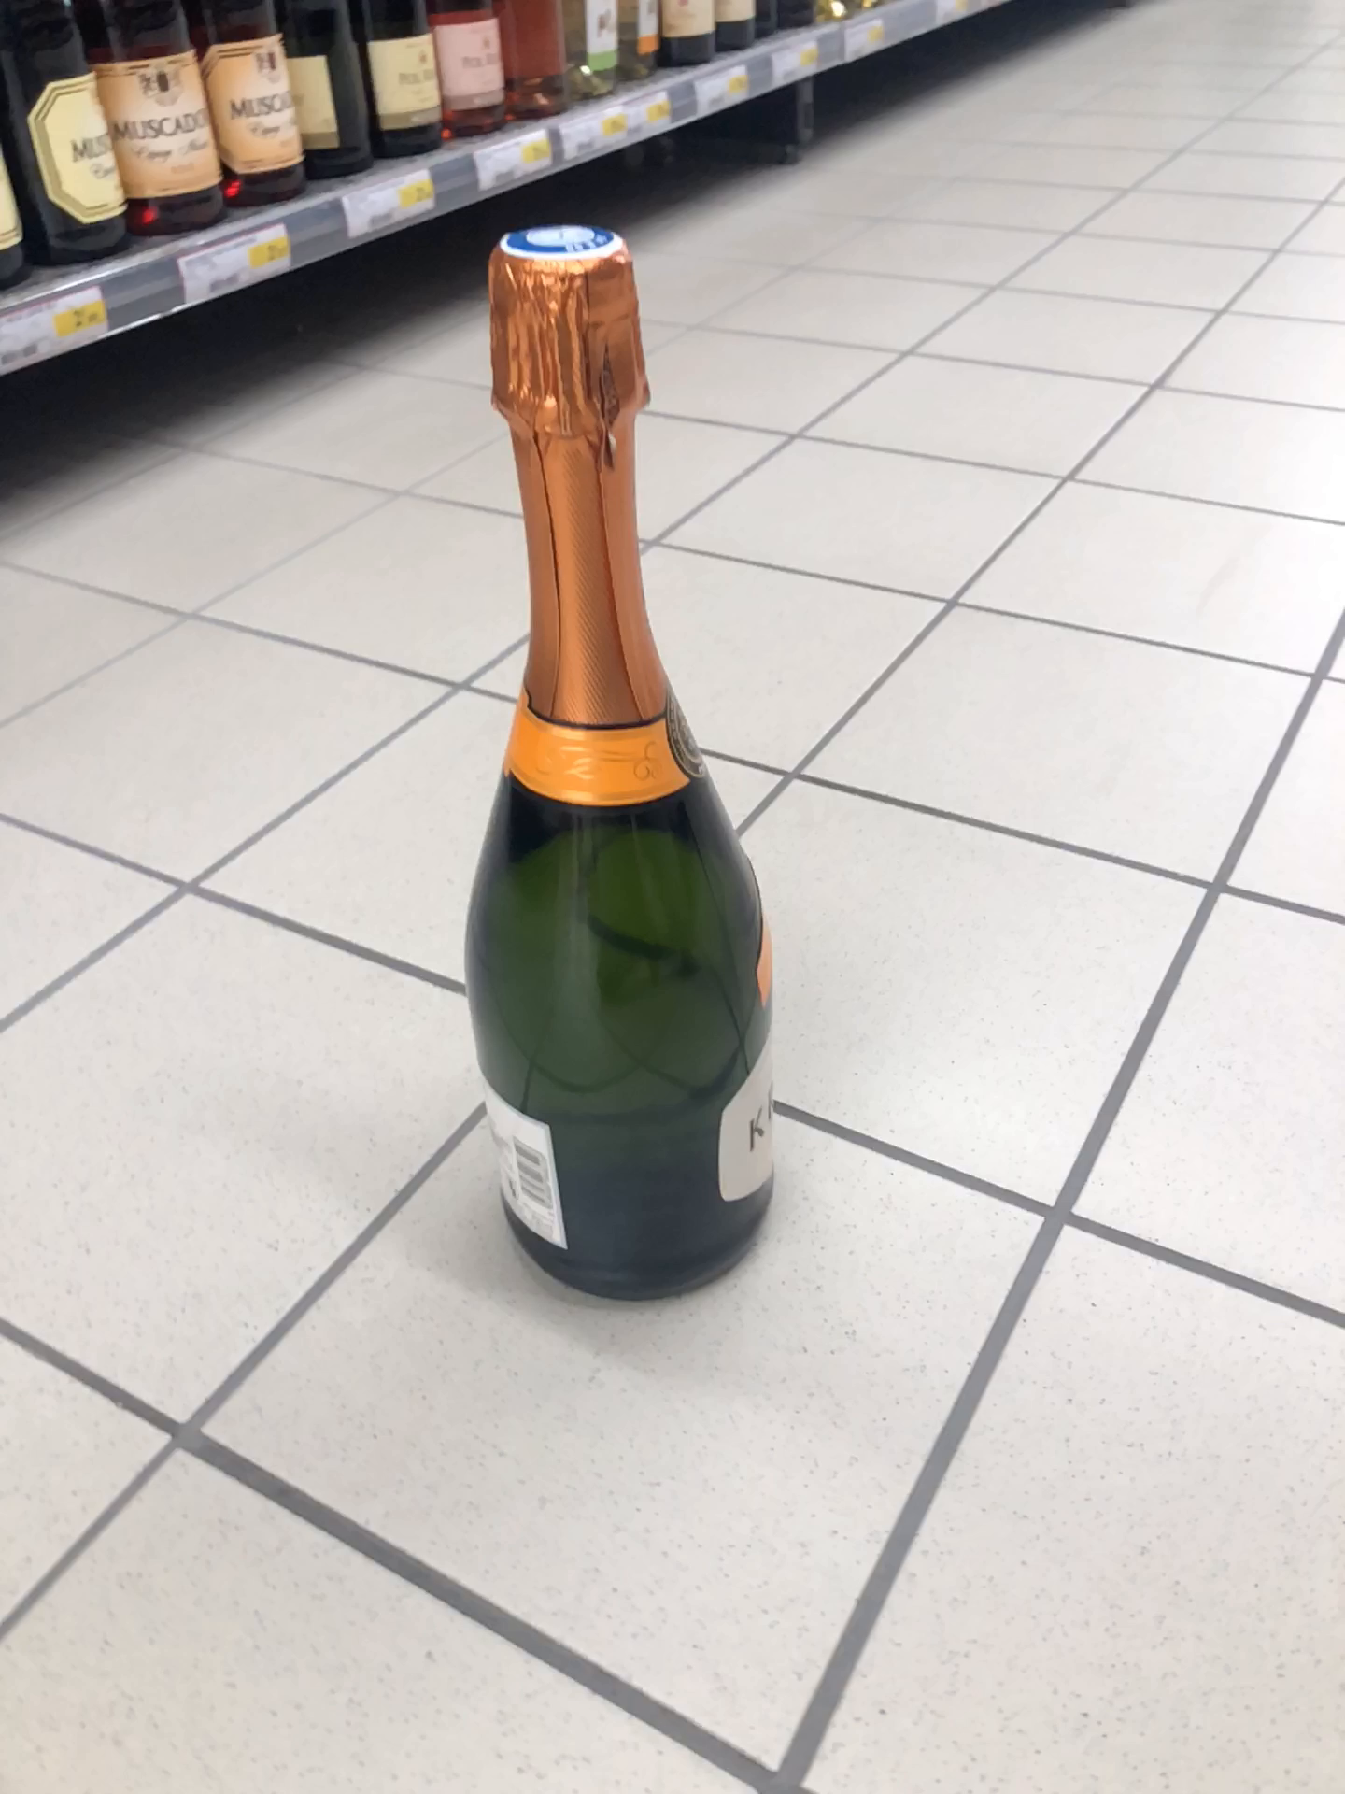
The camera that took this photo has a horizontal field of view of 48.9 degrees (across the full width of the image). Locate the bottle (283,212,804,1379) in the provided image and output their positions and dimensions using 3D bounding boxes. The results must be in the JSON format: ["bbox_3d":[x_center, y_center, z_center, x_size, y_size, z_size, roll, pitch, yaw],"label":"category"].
[{"bbox_3d":[-0.023,-0.011,0.413,0.100,0.308,0.101,-2,35,1],"label":"bottle"}]
